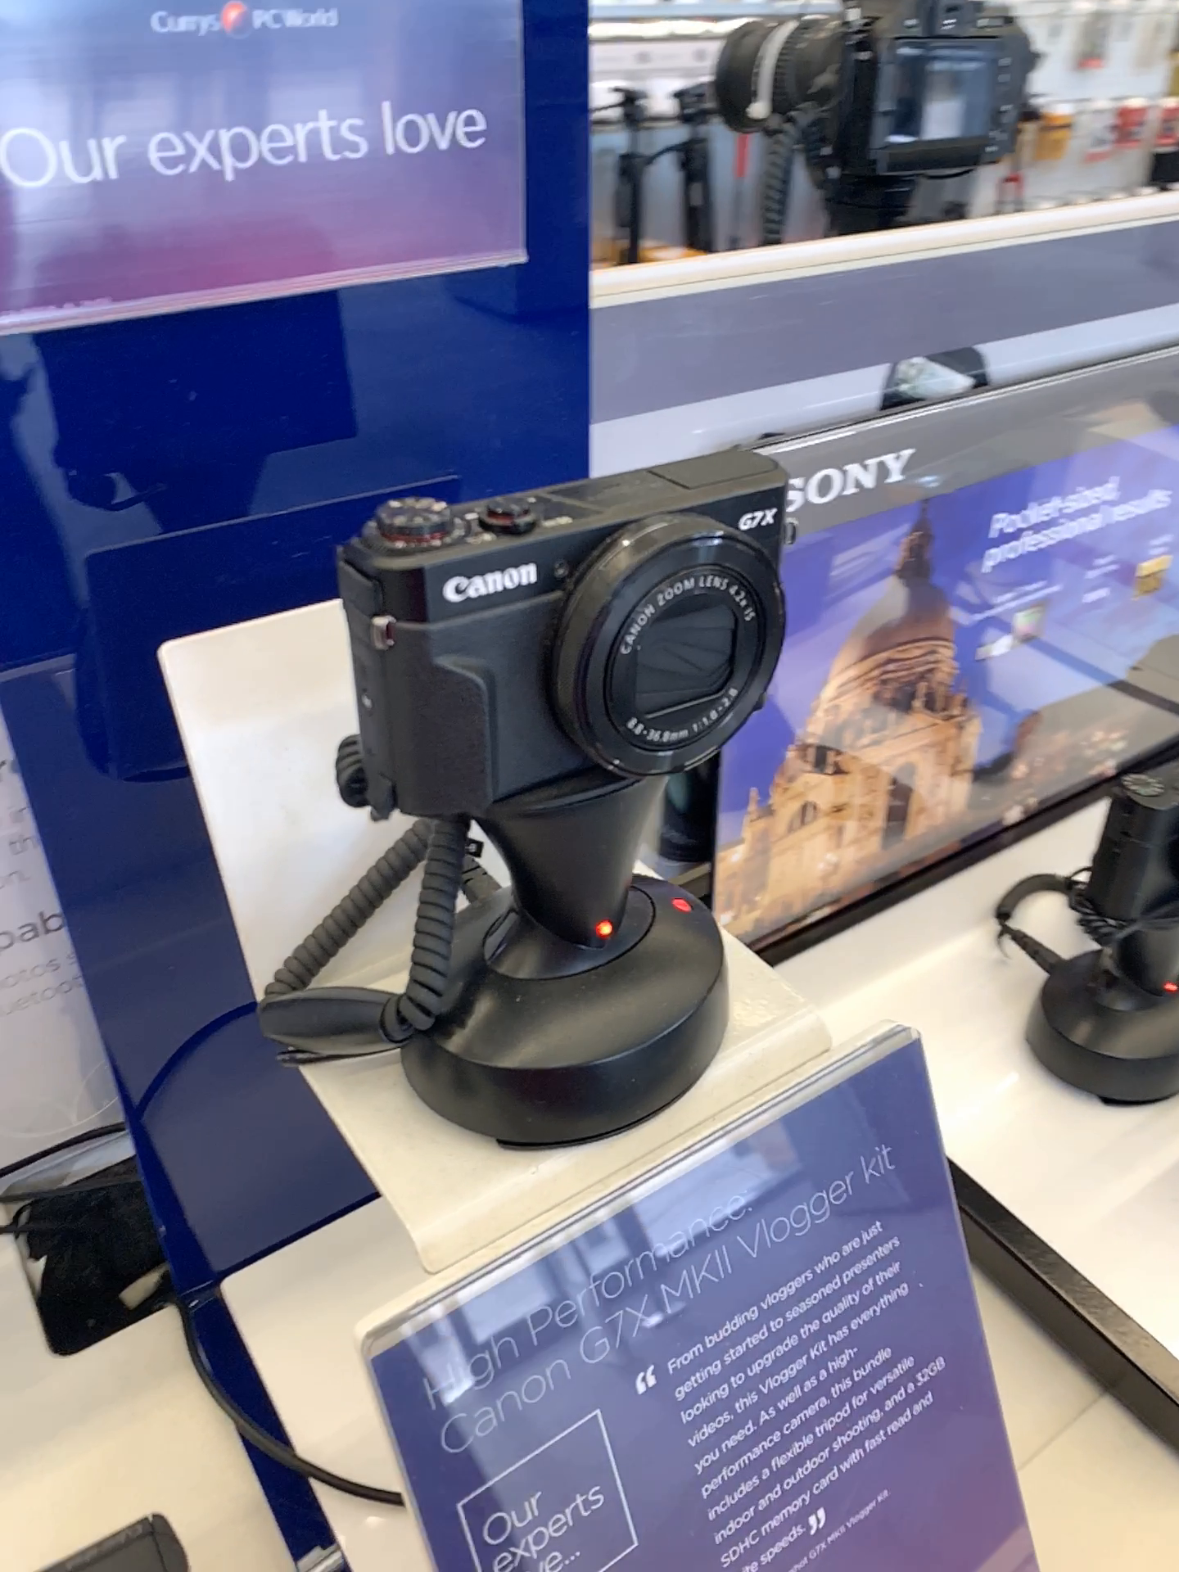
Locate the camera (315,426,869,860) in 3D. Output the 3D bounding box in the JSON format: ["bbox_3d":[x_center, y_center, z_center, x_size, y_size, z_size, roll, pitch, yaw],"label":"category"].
[{"bbox_3d":[0.003,-0.035,0.261,0.108,0.059,0.038,-18,35,-26],"label":"camera"}]
